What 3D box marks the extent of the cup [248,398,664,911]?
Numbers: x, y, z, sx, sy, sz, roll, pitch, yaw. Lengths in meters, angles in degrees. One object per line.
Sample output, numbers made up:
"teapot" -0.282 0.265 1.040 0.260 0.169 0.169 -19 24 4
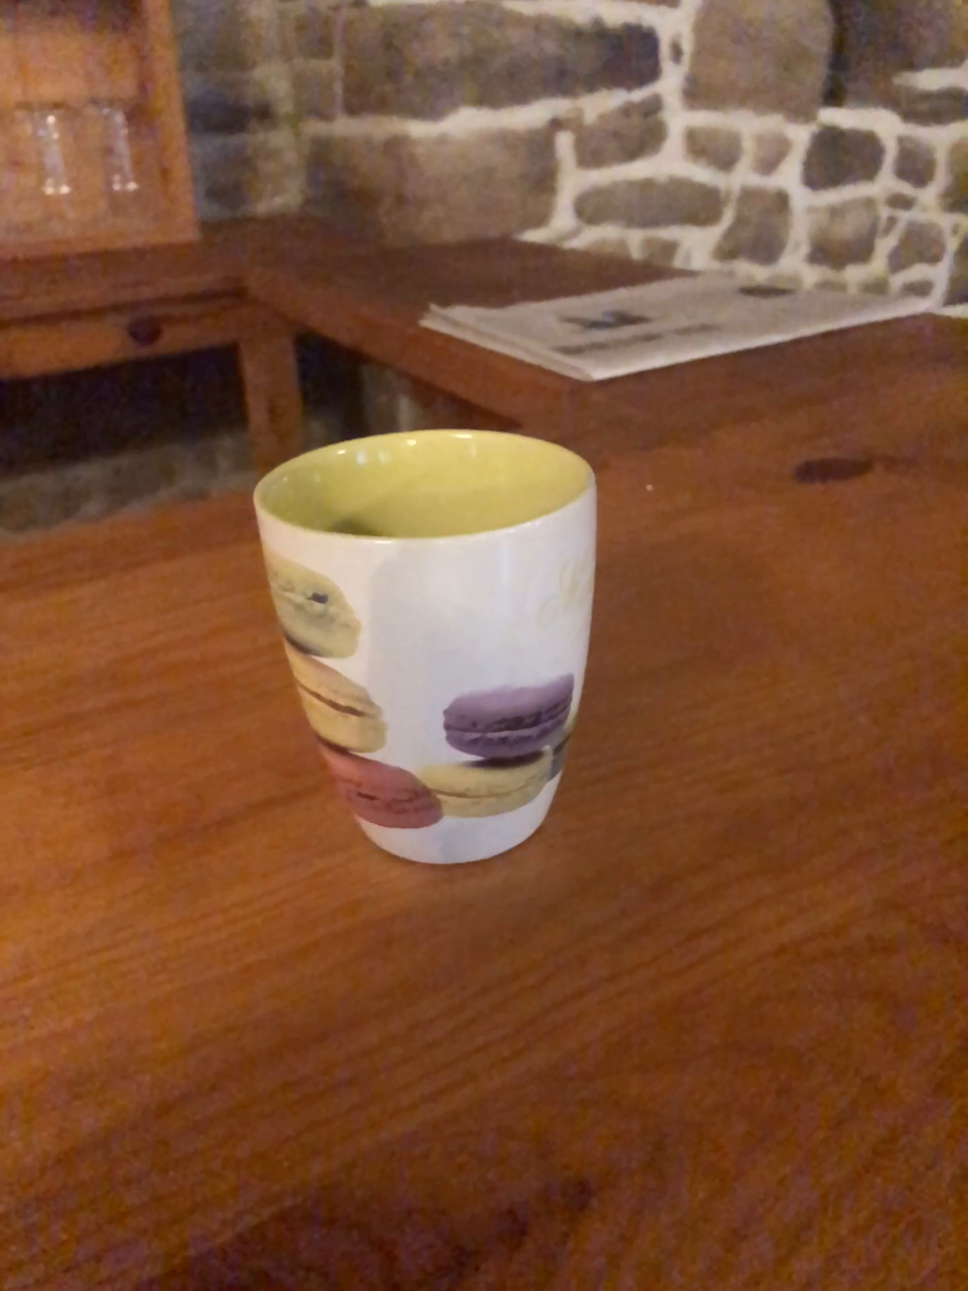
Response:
"cup" -0.015 -0.007 0.322 0.098 0.099 0.121 -7 27 -9
